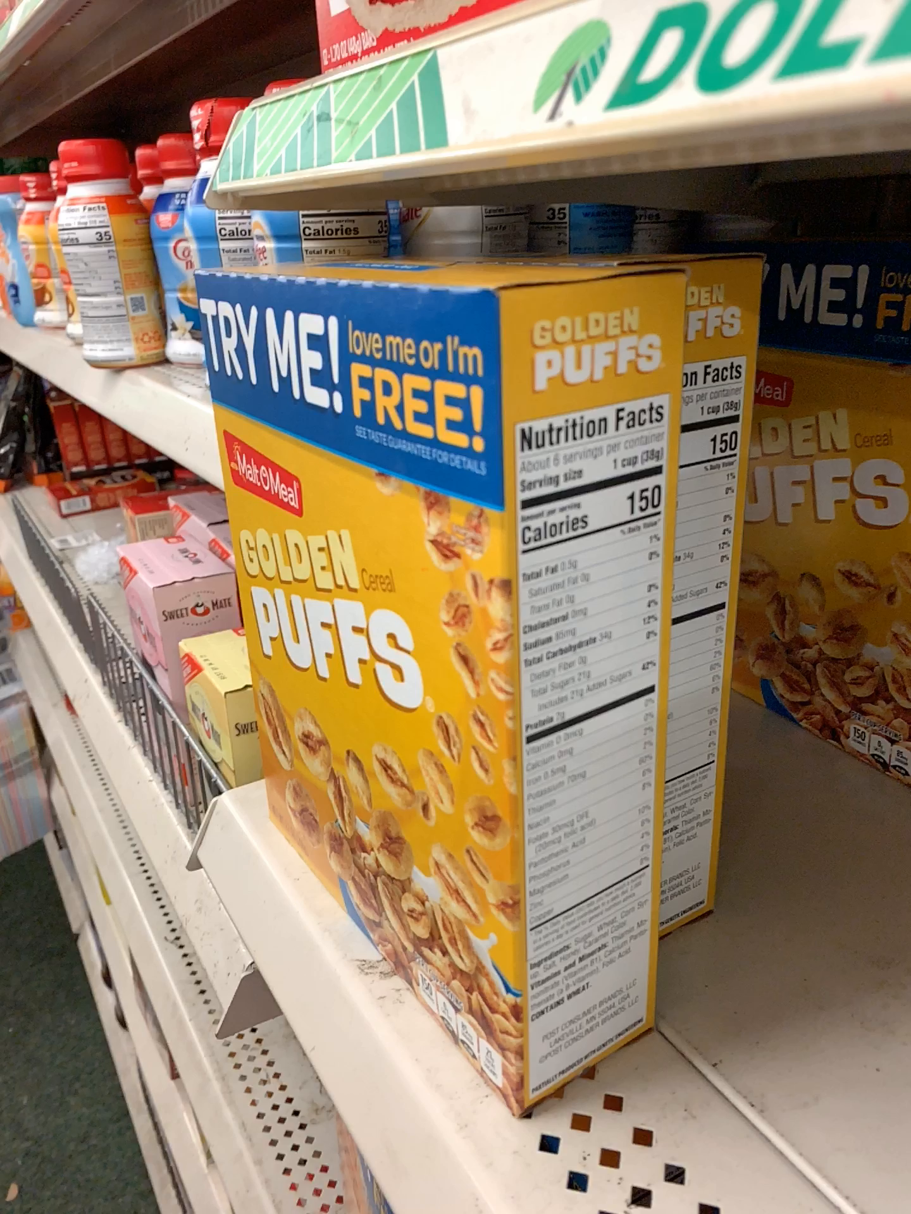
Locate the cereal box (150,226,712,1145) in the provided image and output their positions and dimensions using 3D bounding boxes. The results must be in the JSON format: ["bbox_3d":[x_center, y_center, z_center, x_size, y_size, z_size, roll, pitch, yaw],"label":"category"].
[{"bbox_3d":[-0.020,0.003,0.293,0.060,0.219,0.191,-16,26,-29],"label":"cereal box"}]
